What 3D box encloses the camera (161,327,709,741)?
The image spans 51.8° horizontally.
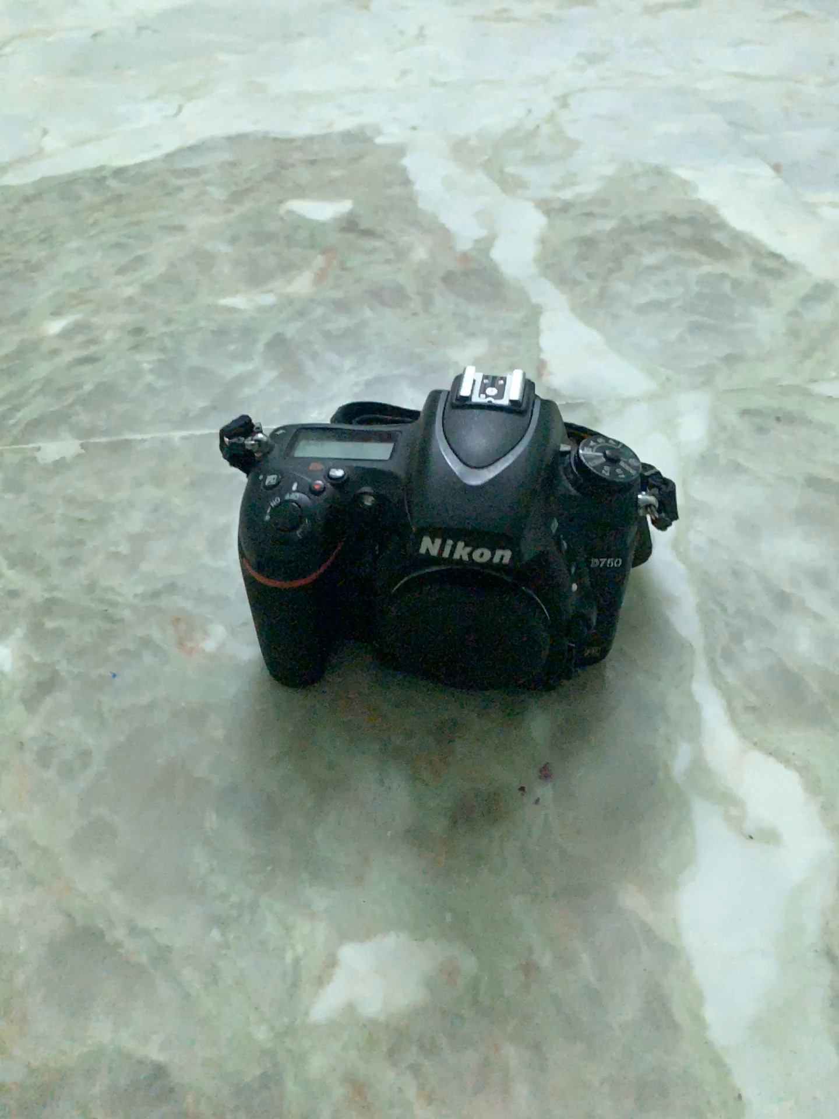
[{"bbox_3d":[0.008,-0.009,0.297,0.150,0.100,0.080,6,46,7],"label":"camera"}]
